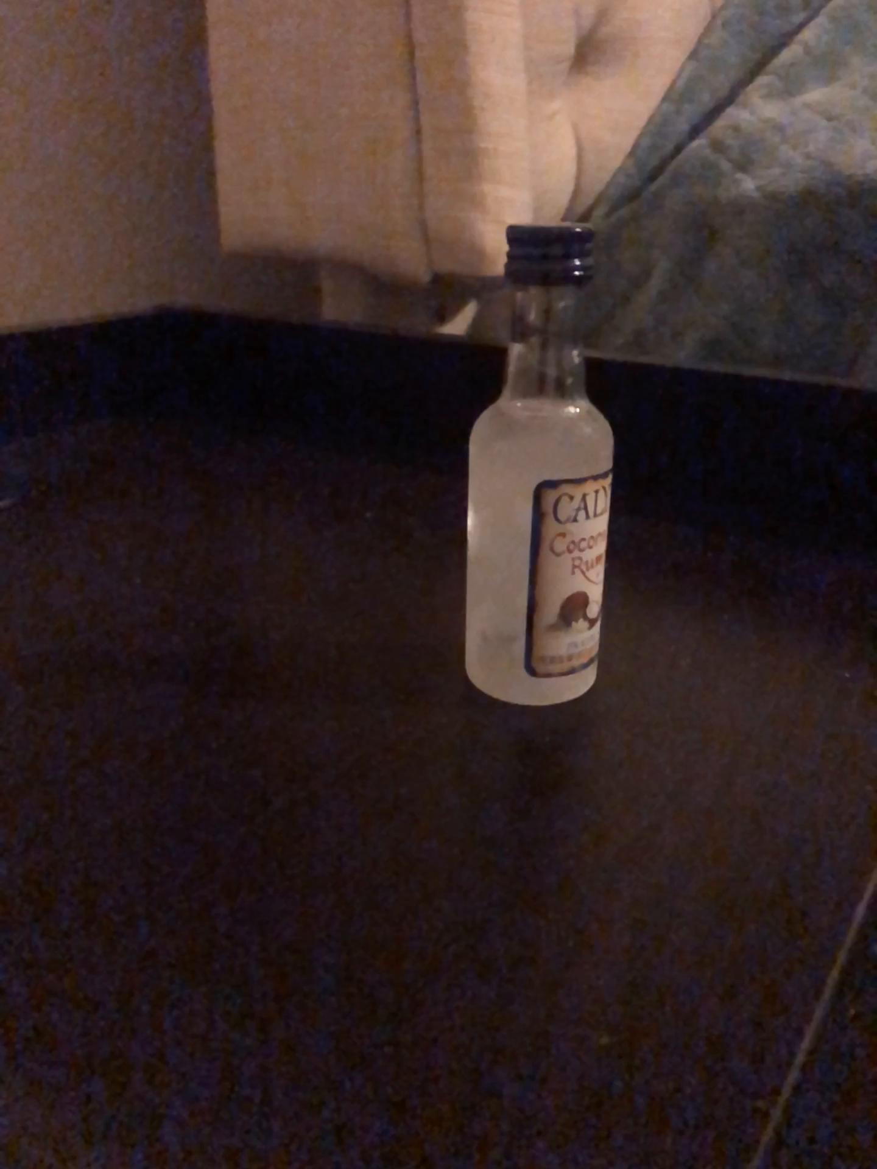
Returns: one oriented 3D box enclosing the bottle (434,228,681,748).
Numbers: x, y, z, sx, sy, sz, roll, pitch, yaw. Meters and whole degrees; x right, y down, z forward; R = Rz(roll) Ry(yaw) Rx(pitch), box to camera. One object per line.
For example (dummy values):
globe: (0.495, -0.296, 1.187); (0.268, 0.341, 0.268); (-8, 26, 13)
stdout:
bottle: (0.025, -0.023, 0.216); (0.036, 0.104, 0.040); (13, 24, 28)
